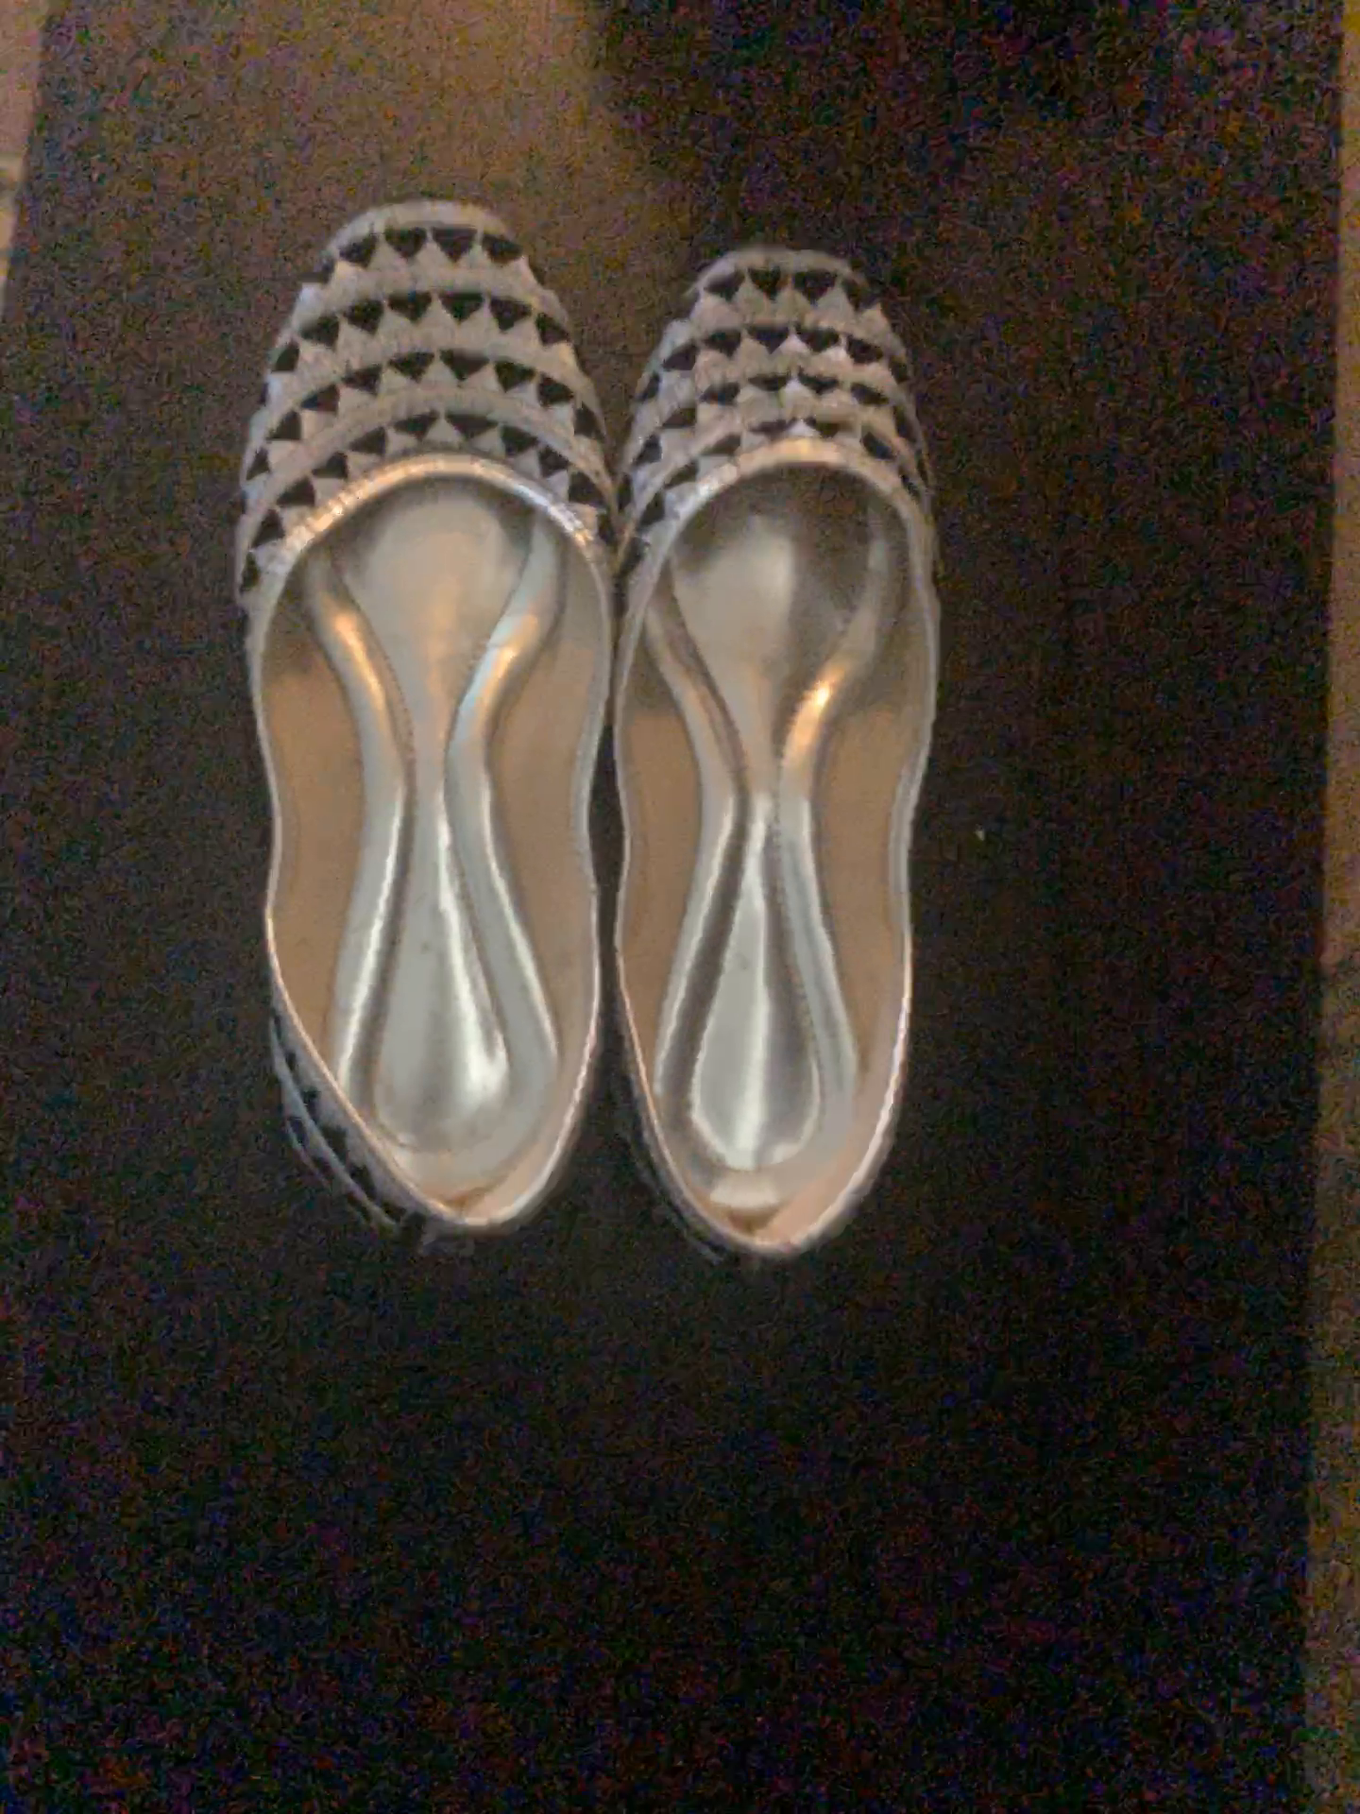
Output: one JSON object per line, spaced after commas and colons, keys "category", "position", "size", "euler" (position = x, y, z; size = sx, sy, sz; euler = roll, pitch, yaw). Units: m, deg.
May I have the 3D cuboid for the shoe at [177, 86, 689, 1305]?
{"category": "shoe", "position": [-0.061, -0.048, 0.342], "size": [0.100, 0.080, 0.260], "euler": [-2, 84, -10]}

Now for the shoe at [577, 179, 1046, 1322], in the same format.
{"category": "shoe", "position": [0.033, -0.036, 0.375], "size": [0.100, 0.080, 0.270], "euler": [3, 83, -10]}
